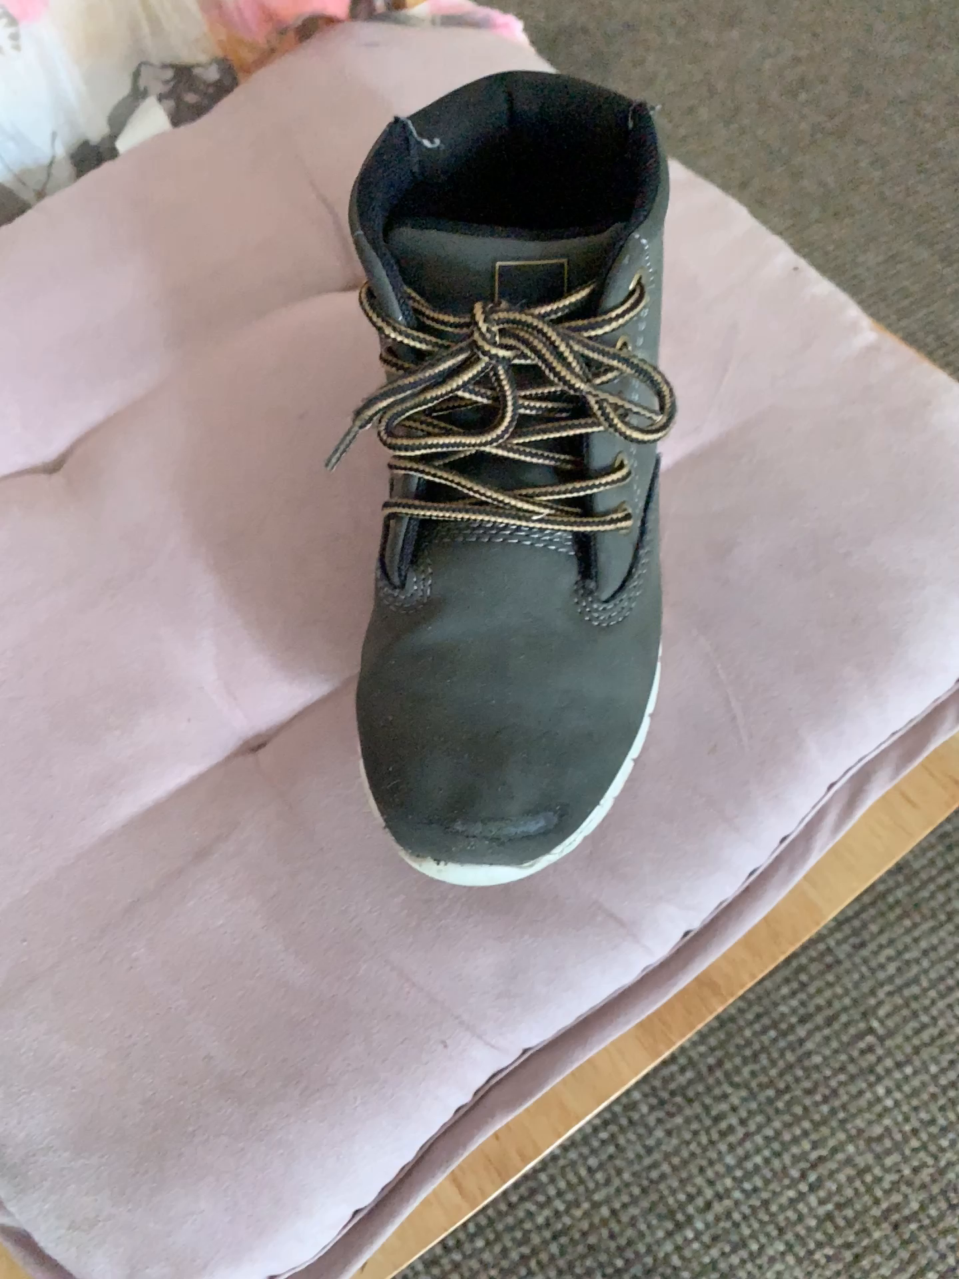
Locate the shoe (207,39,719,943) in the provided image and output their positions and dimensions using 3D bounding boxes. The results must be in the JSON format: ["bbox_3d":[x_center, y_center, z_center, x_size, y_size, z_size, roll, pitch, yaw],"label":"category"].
[{"bbox_3d":[0.005,-0.040,0.300,0.100,0.129,0.231,4,66,2],"label":"shoe"}]
